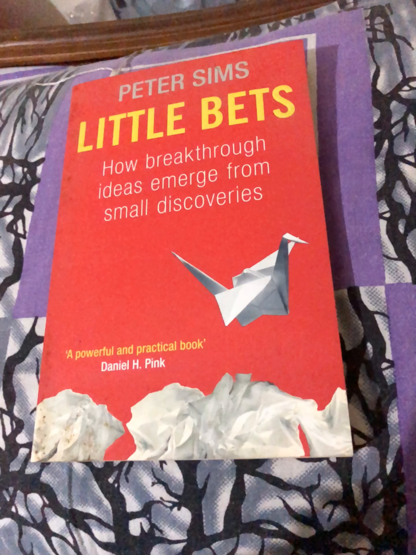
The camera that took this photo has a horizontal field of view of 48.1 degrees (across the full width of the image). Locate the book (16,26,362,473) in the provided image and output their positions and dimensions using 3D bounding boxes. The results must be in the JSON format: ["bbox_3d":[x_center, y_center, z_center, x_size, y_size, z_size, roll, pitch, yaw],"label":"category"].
[{"bbox_3d":[-0.012,-0.026,0.251,0.150,0.020,0.240,-7,64,14],"label":"book"}]
